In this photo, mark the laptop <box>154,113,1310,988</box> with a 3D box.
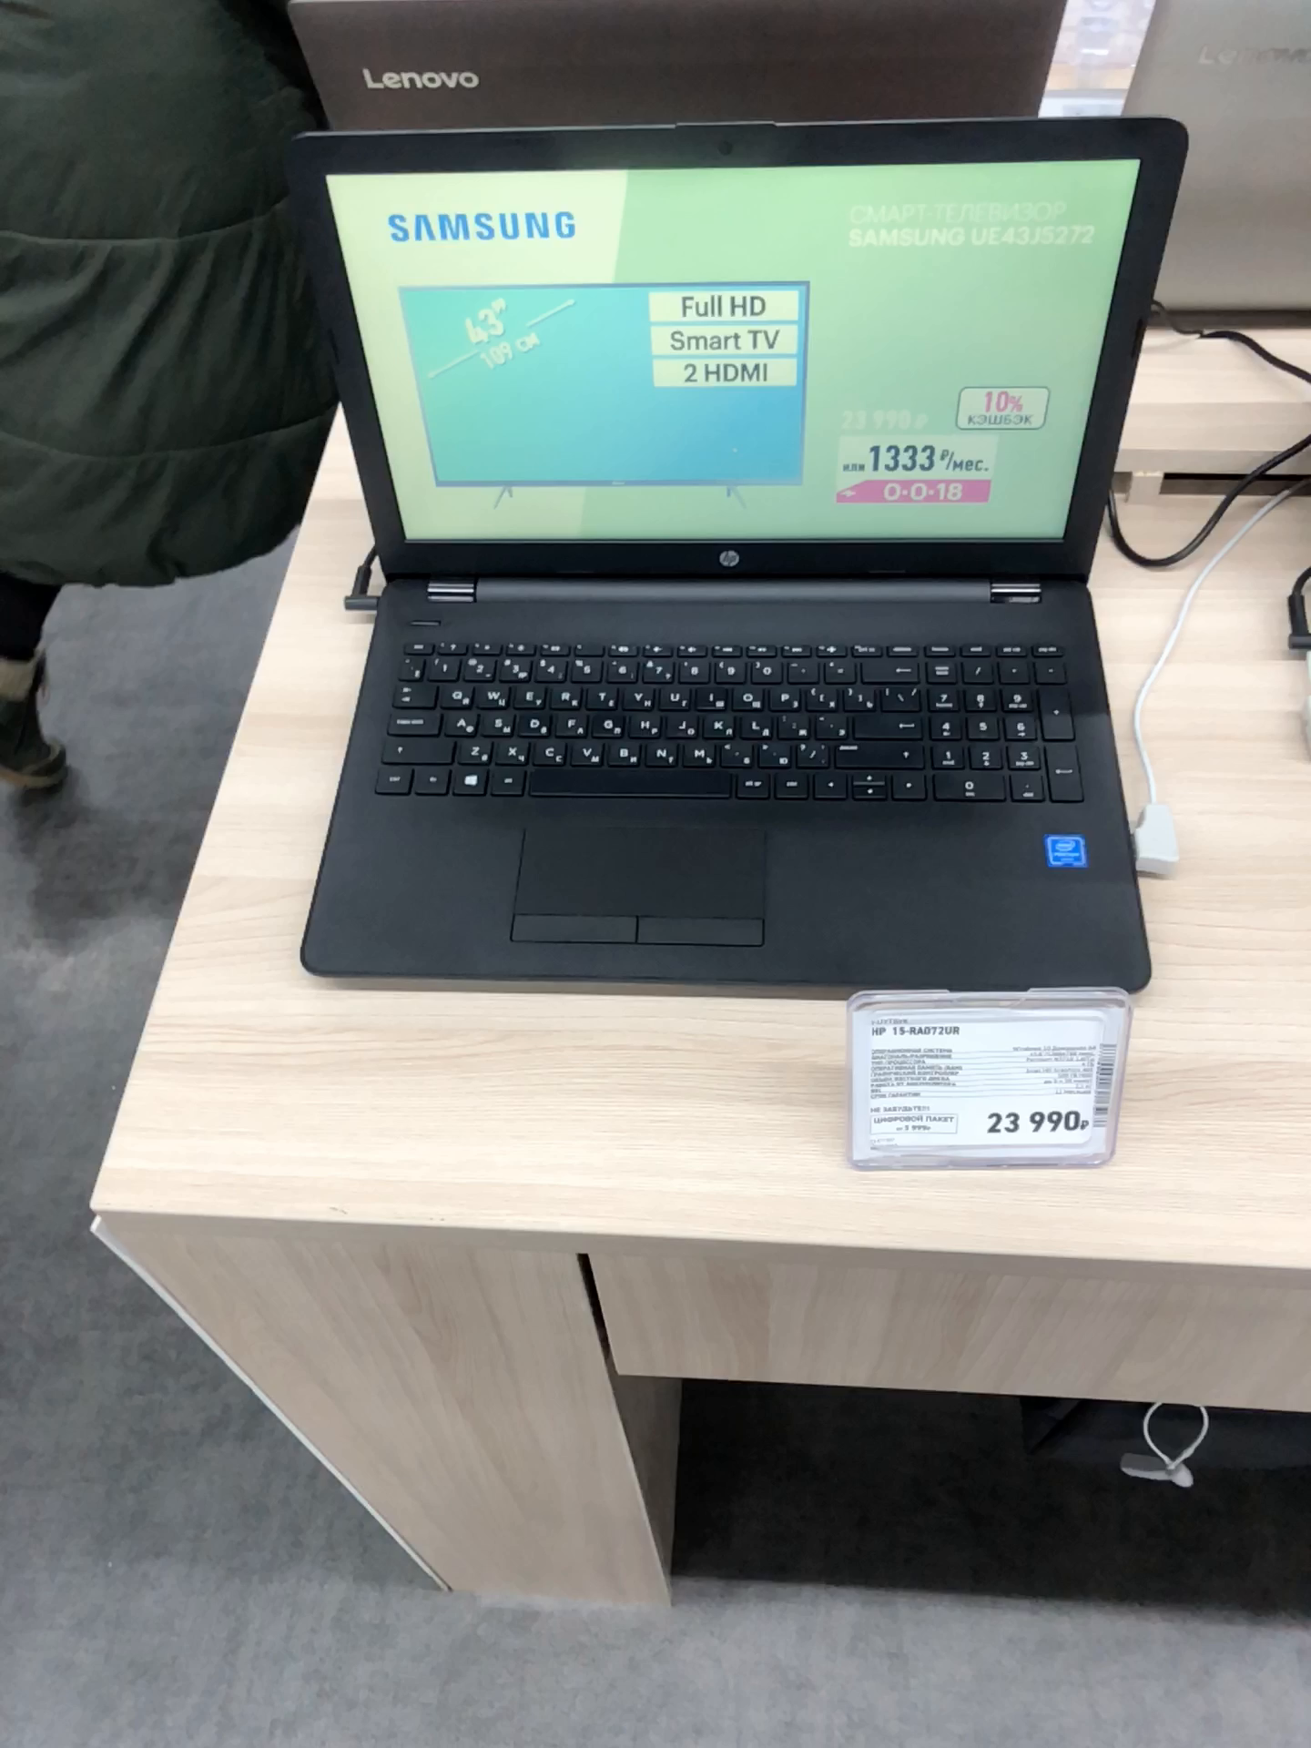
[{"bbox_3d":[0.029,-0.136,0.615,0.362,0.222,0.274,1,55,4],"label":"laptop"}]
